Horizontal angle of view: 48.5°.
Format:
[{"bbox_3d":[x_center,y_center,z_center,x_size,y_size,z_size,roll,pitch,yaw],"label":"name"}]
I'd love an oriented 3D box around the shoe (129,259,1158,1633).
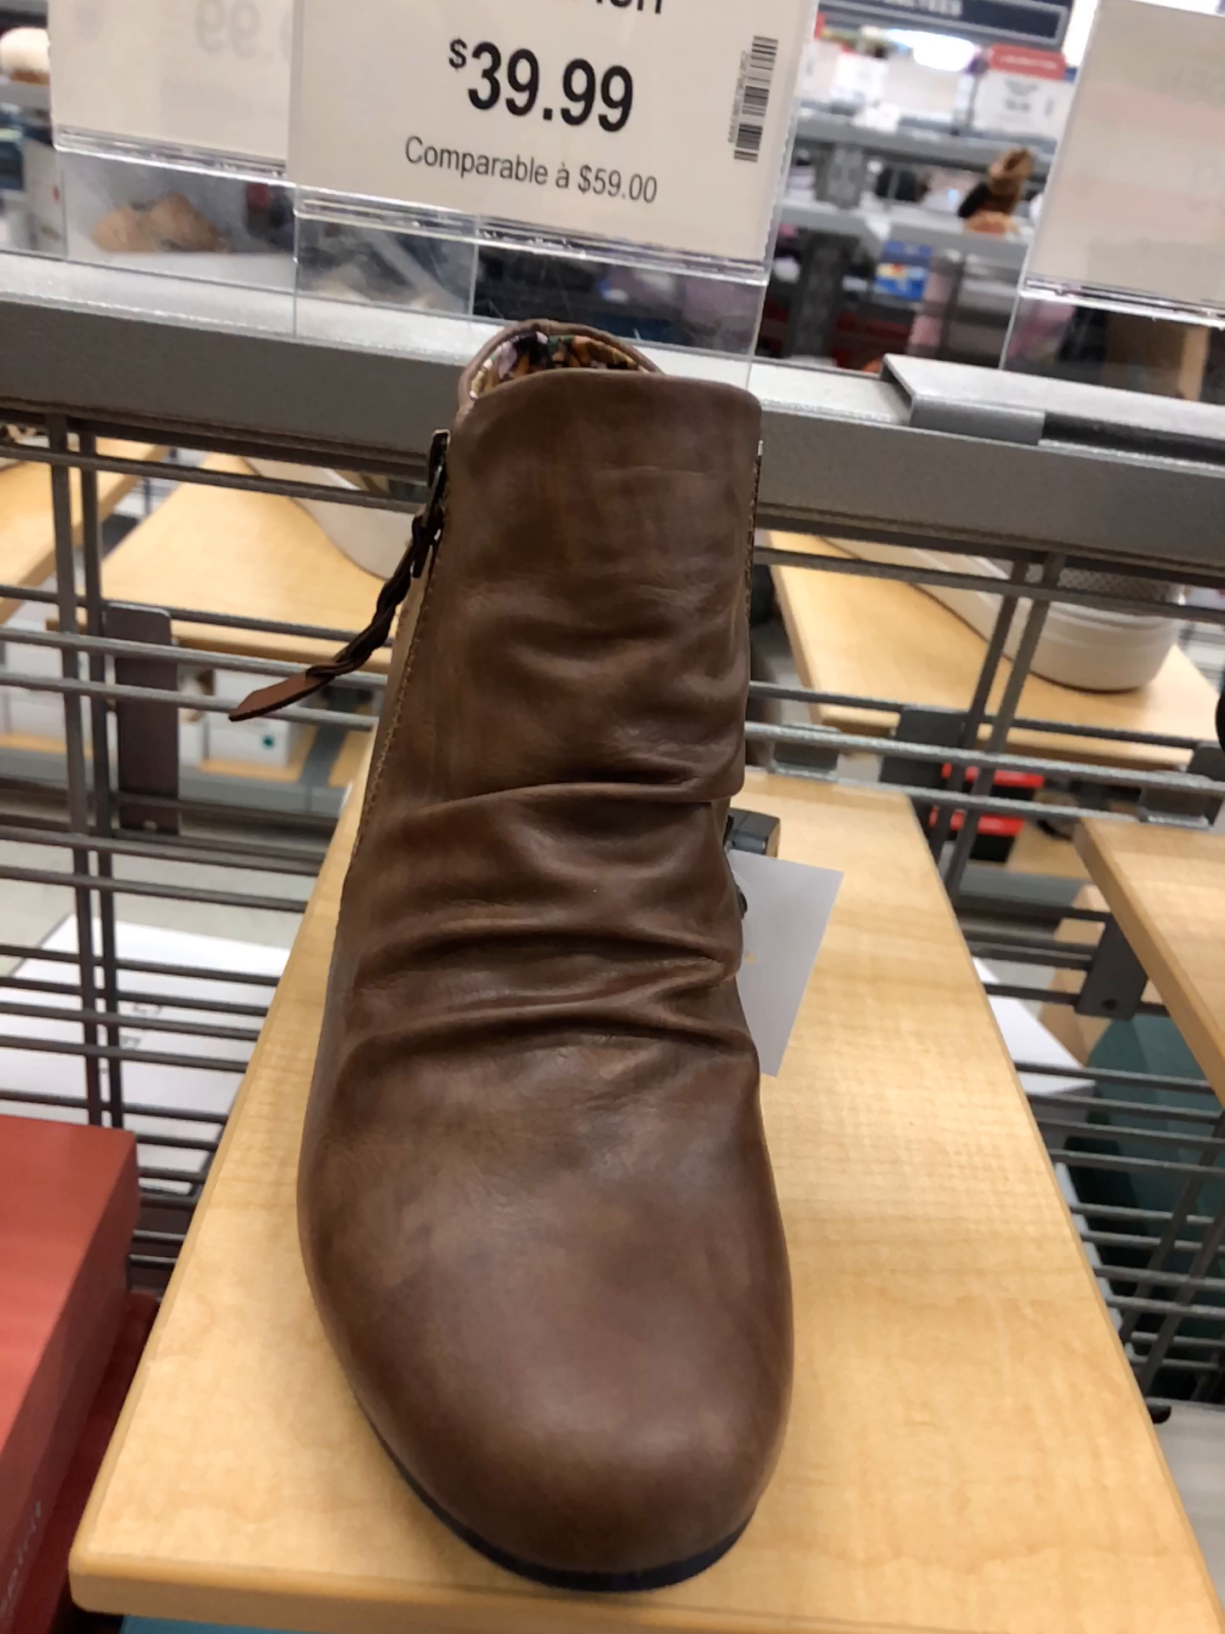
[{"bbox_3d":[-0.015,-0.004,0.250,0.090,0.139,0.232,5,30,-8],"label":"shoe"}]
